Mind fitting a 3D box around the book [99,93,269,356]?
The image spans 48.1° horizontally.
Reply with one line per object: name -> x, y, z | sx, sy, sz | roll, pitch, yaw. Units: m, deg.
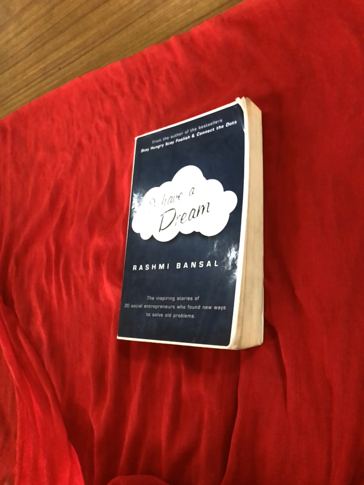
book -> -0.001, -0.008, 0.345 | 0.141, 0.040, 0.190 | -8, 73, 41
